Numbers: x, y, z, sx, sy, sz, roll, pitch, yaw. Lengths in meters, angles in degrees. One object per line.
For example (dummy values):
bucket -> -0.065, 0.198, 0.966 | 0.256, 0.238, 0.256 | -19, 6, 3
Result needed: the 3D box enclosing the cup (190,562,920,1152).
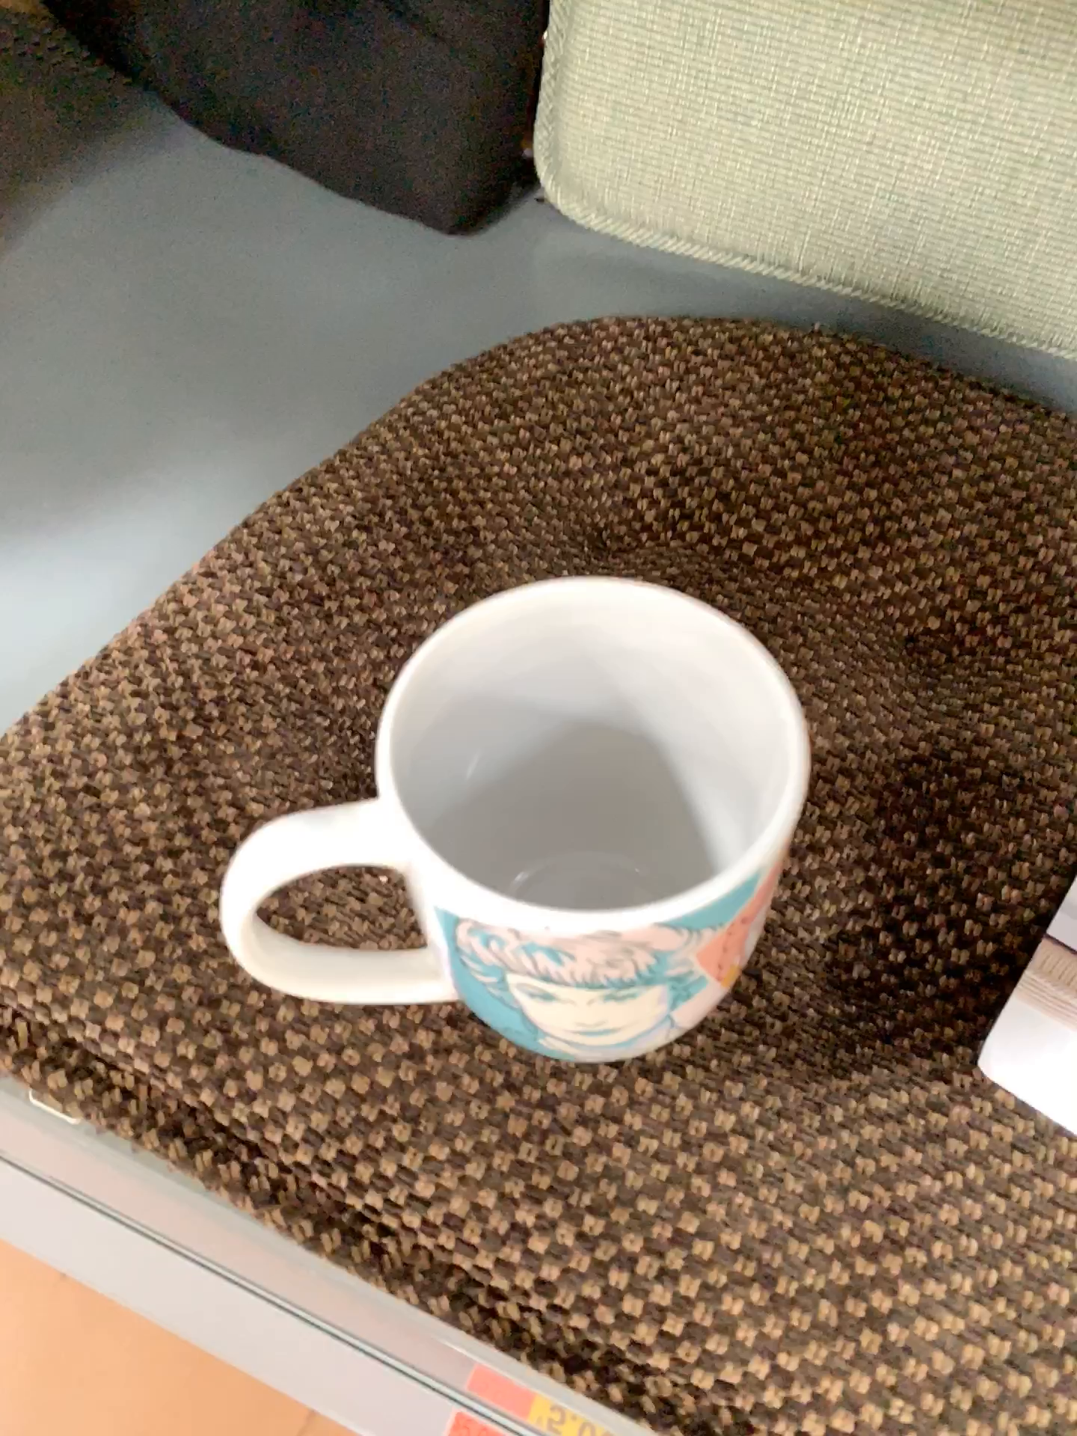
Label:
cup -> -0.001, 0.035, 0.259 | 0.128, 0.100, 0.090 | -5, 55, -4
